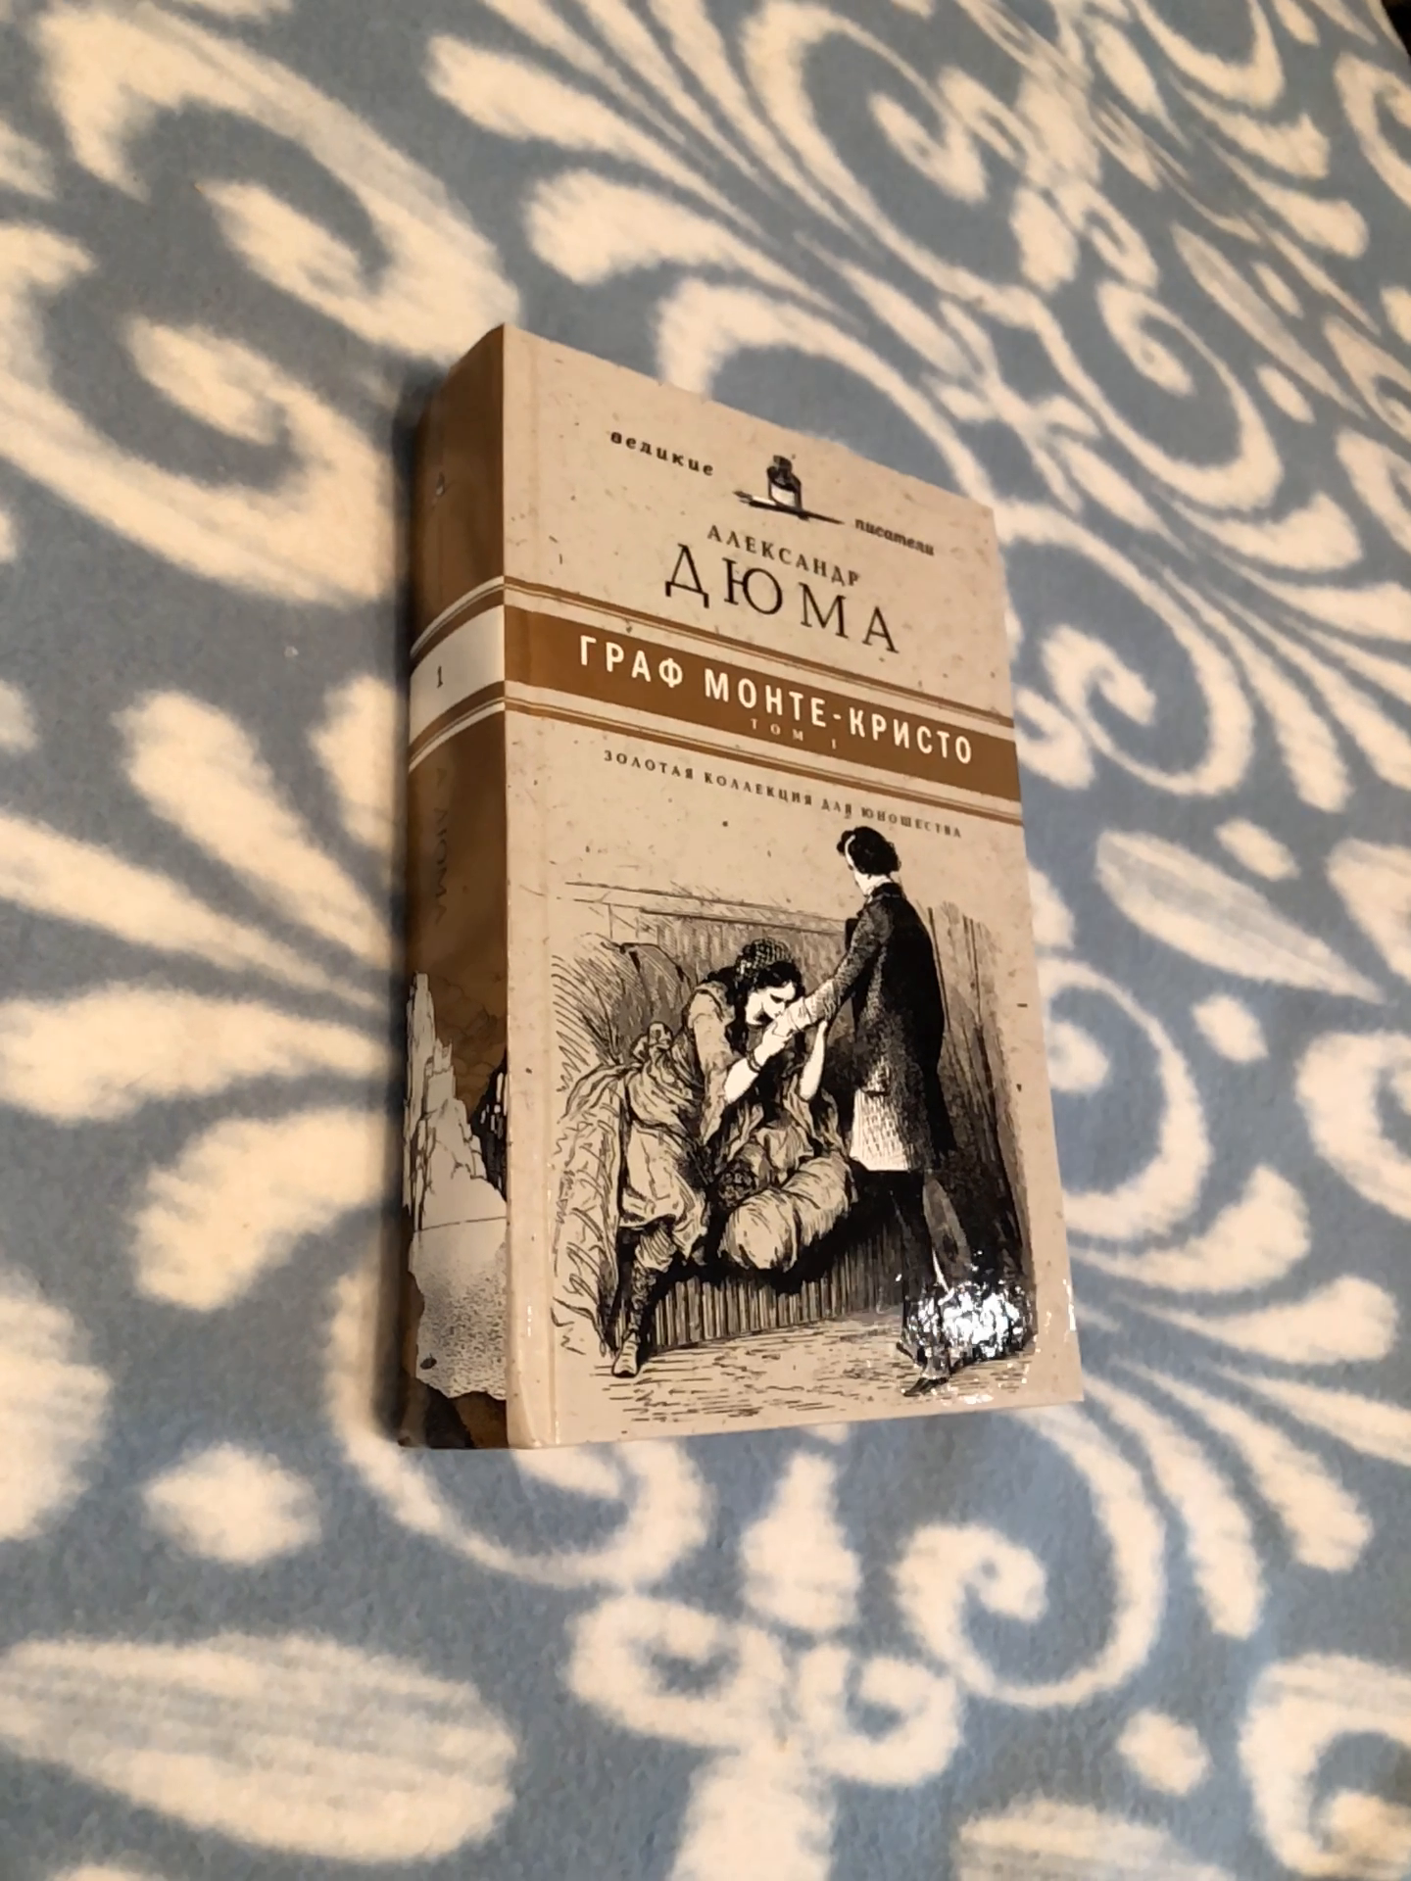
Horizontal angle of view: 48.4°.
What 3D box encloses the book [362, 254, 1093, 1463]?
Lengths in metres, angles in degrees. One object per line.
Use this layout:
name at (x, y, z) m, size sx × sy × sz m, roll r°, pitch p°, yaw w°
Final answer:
book at (0.004, -0.012, 0.316) m, size 0.138 × 0.040 × 0.212 m, roll 8°, pitch 71°, yaw -35°
